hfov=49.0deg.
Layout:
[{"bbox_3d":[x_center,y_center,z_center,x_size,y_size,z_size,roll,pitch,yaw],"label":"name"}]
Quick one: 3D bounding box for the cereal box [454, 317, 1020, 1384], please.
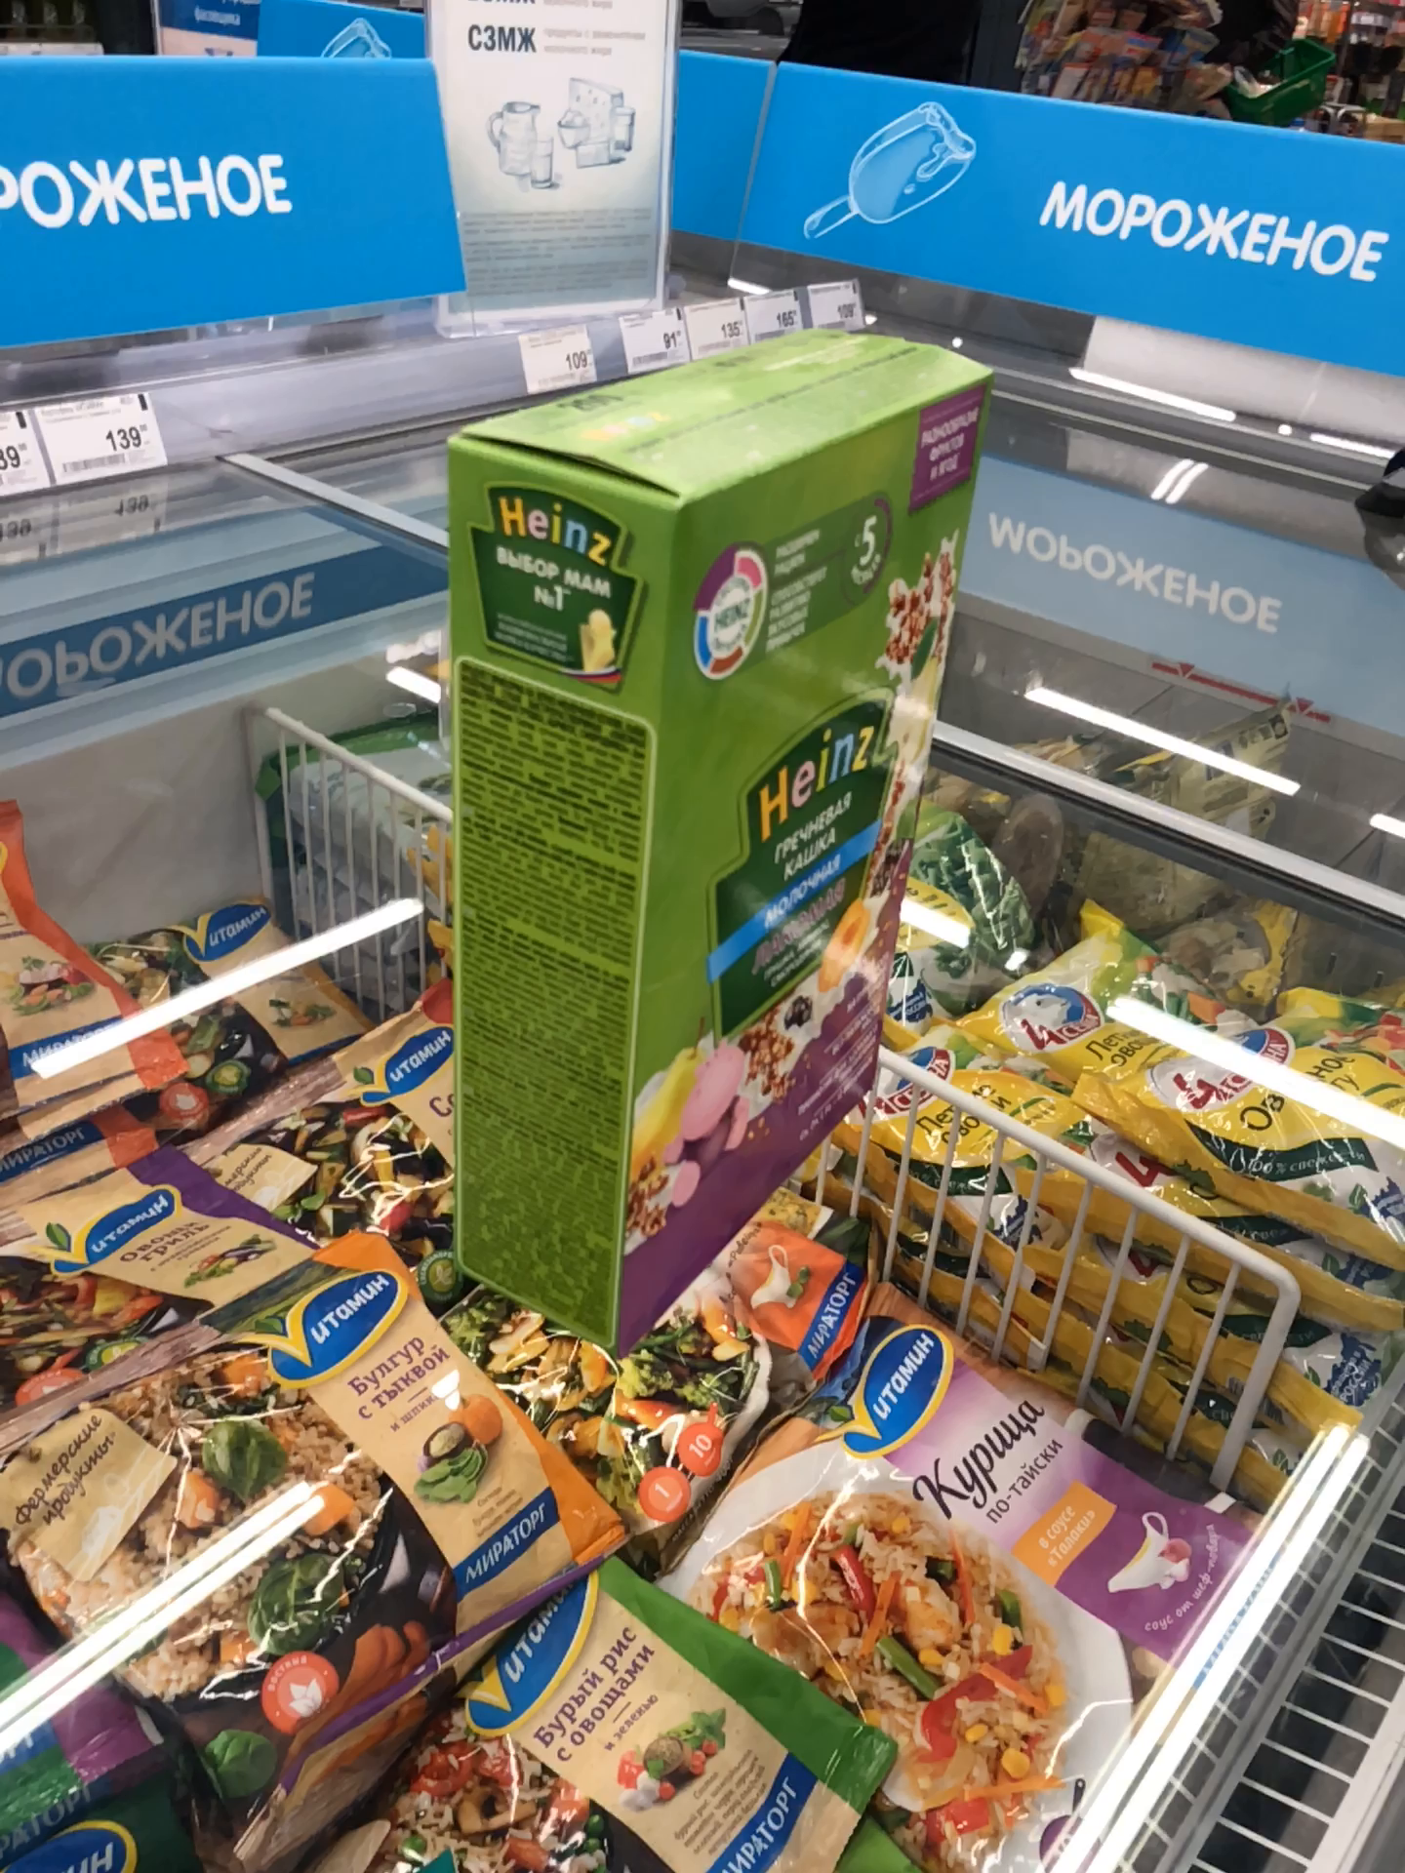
[{"bbox_3d":[0.006,-0.022,0.346,0.050,0.199,0.131,21,35,24],"label":"cereal box"}]
